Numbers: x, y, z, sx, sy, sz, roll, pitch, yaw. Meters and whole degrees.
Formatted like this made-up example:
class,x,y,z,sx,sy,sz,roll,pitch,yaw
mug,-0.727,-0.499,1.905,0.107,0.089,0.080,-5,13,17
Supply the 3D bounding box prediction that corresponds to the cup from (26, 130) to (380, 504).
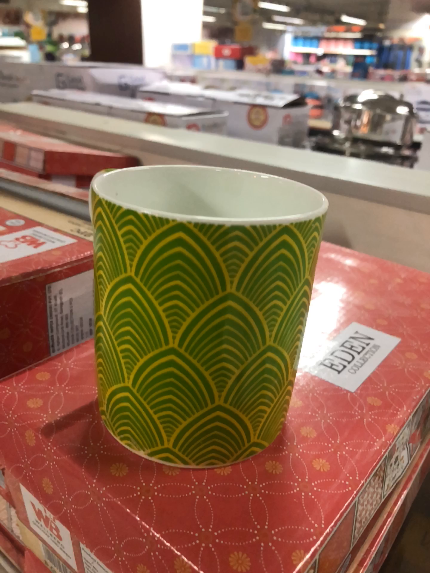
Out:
class,x,y,z,sx,sy,sz,roll,pitch,yaw
cup,-0.007,-0.002,0.174,0.090,0.089,0.070,23,30,36
